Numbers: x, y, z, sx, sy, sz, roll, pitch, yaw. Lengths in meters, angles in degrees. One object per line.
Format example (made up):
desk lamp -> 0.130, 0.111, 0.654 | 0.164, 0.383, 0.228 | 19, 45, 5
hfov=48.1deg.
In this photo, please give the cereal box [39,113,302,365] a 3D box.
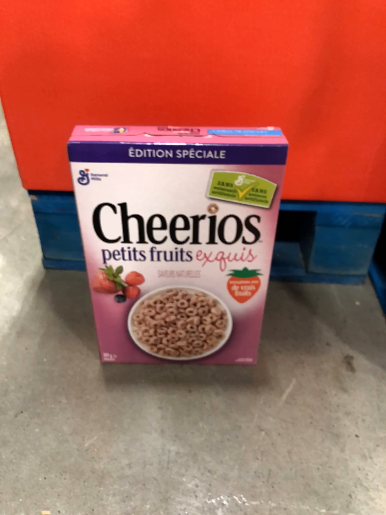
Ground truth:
cereal box -> -0.021, -0.003, 0.467 | 0.220, 0.279, 0.060 | 1, 36, 0
